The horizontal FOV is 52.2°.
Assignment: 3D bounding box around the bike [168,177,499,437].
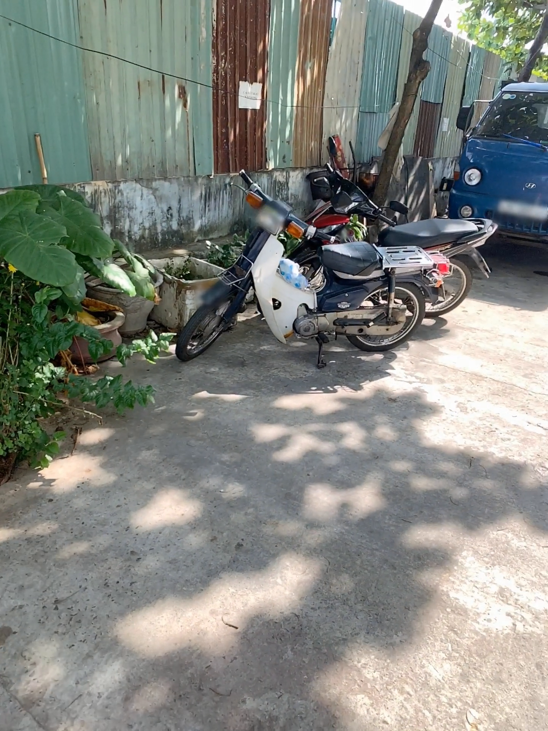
[{"bbox_3d":[0.255,-0.382,2.938,1.476,1.024,0.655,-9,27,-21],"label":"bike"}]
